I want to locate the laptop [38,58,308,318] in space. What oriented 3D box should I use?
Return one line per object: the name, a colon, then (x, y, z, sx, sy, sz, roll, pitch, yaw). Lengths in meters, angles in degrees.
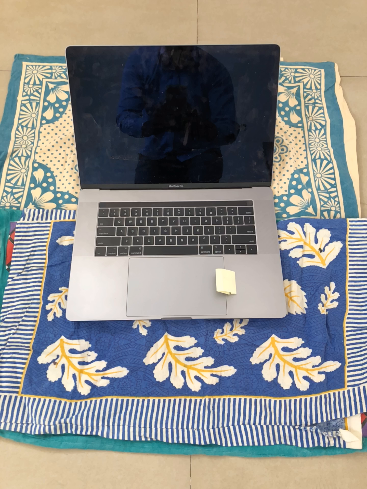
laptop: (-0.014, -0.095, 0.640, 0.336, 0.132, 0.402, 0, 68, -1)
